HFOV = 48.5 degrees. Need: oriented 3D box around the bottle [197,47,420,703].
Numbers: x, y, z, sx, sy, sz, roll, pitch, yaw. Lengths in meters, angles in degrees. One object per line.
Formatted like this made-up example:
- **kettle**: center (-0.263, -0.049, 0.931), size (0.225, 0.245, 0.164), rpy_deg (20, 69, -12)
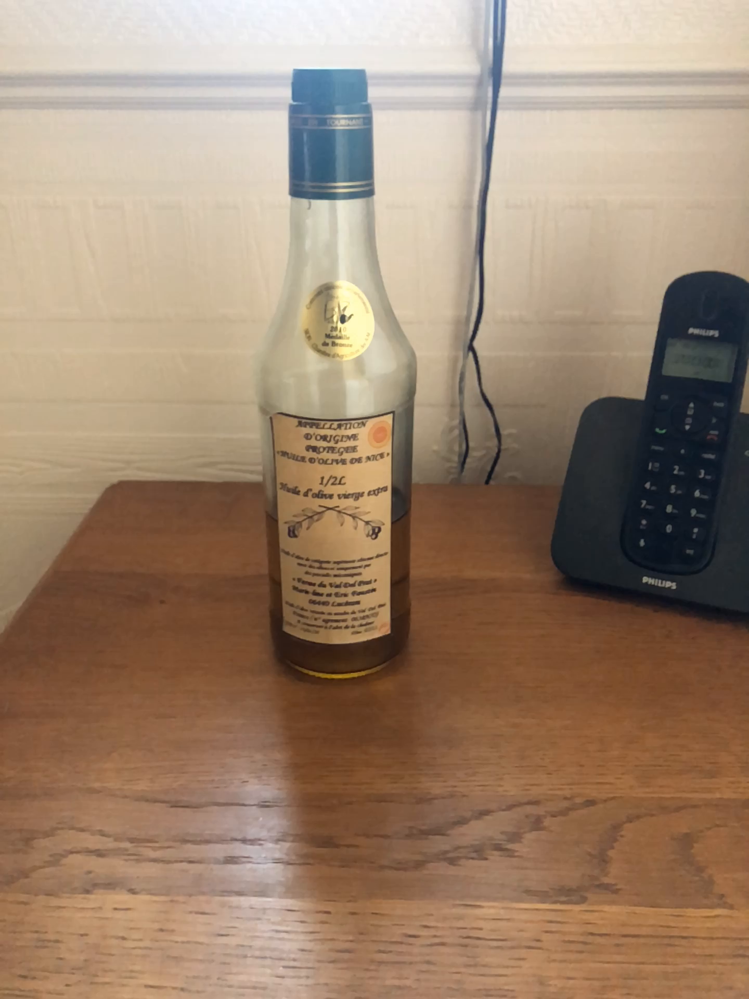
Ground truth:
- **bottle**: center (-0.018, -0.043, 0.353), size (0.070, 0.259, 0.080), rpy_deg (1, 26, 2)
